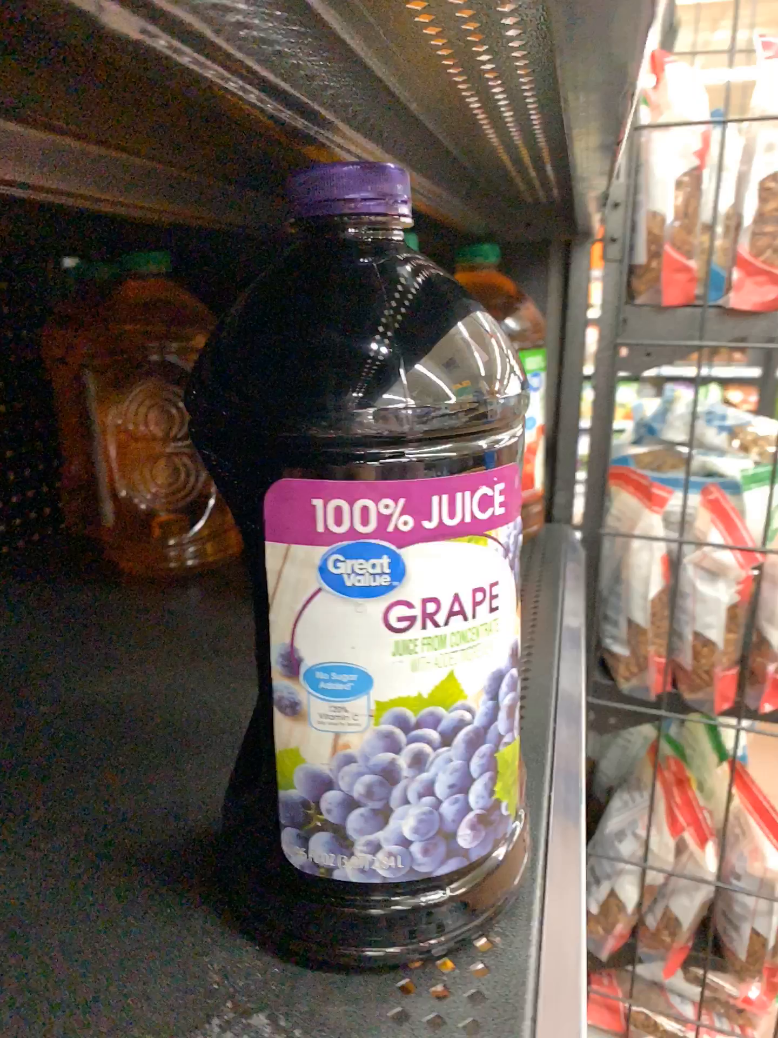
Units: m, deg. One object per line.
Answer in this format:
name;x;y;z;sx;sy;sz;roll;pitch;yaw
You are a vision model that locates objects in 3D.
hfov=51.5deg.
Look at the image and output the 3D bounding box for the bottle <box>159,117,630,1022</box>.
bottle;-0.011;0.011;0.318;0.130;0.279;0.140;0;15;0
